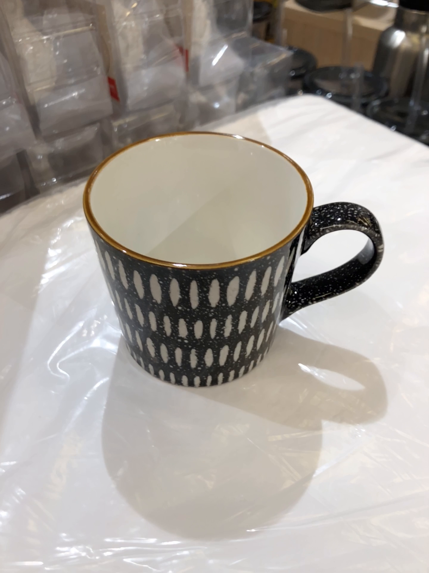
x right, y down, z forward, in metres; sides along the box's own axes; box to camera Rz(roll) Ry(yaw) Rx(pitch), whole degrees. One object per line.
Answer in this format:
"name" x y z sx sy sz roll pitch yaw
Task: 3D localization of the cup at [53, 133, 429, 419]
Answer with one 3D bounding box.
"cup" 0.009 -0.004 0.193 0.110 0.079 0.081 0 45 -1
